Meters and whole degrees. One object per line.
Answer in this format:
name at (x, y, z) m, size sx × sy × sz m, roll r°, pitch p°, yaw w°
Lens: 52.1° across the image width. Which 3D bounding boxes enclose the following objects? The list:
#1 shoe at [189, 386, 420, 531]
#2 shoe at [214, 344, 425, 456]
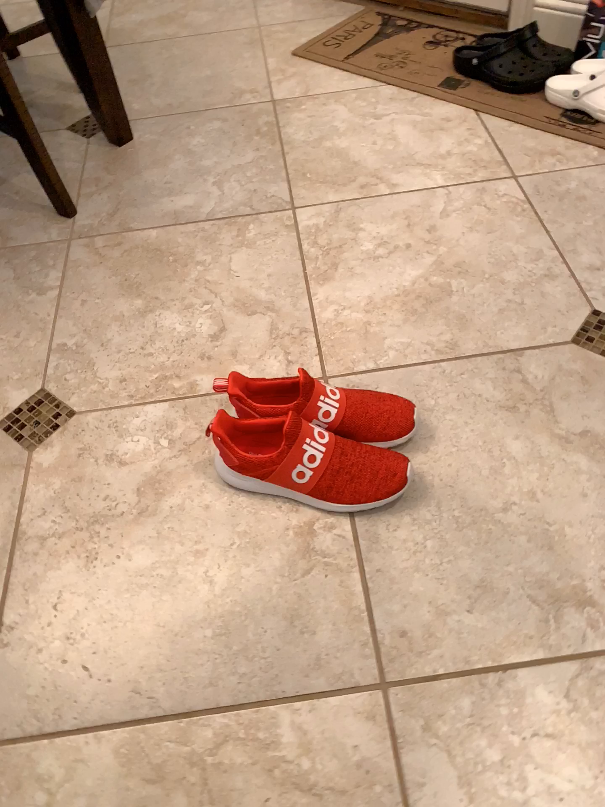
shoe at (0.008, 0.078, 0.900) m, size 0.300 × 0.119 × 0.118 m, roll 8°, pitch 54°, yaw 12°
shoe at (0.031, -0.007, 0.958) m, size 0.300 × 0.119 × 0.118 m, roll 1°, pitch 52°, yaw 6°
